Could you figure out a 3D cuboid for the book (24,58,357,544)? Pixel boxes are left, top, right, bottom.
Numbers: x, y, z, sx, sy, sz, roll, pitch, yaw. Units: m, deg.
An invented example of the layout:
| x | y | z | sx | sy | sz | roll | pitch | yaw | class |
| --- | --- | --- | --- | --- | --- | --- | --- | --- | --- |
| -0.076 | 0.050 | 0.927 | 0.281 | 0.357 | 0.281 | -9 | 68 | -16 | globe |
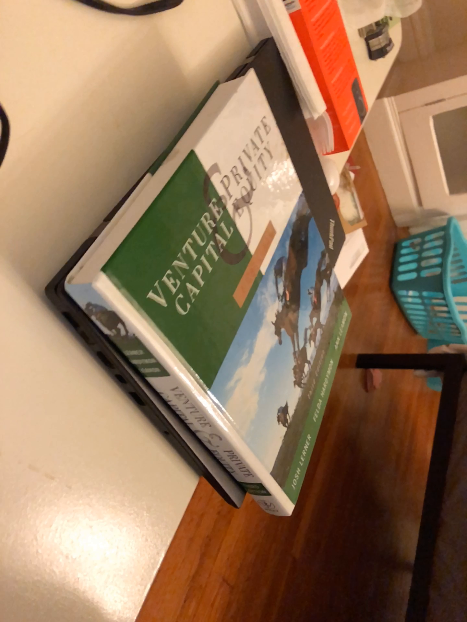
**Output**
| x | y | z | sx | sy | sz | roll | pitch | yaw | class |
| --- | --- | --- | --- | --- | --- | --- | --- | --- | --- |
| 0.013 | 0.001 | 0.374 | 0.270 | 0.030 | 0.221 | 57 | 43 | -36 | book |
